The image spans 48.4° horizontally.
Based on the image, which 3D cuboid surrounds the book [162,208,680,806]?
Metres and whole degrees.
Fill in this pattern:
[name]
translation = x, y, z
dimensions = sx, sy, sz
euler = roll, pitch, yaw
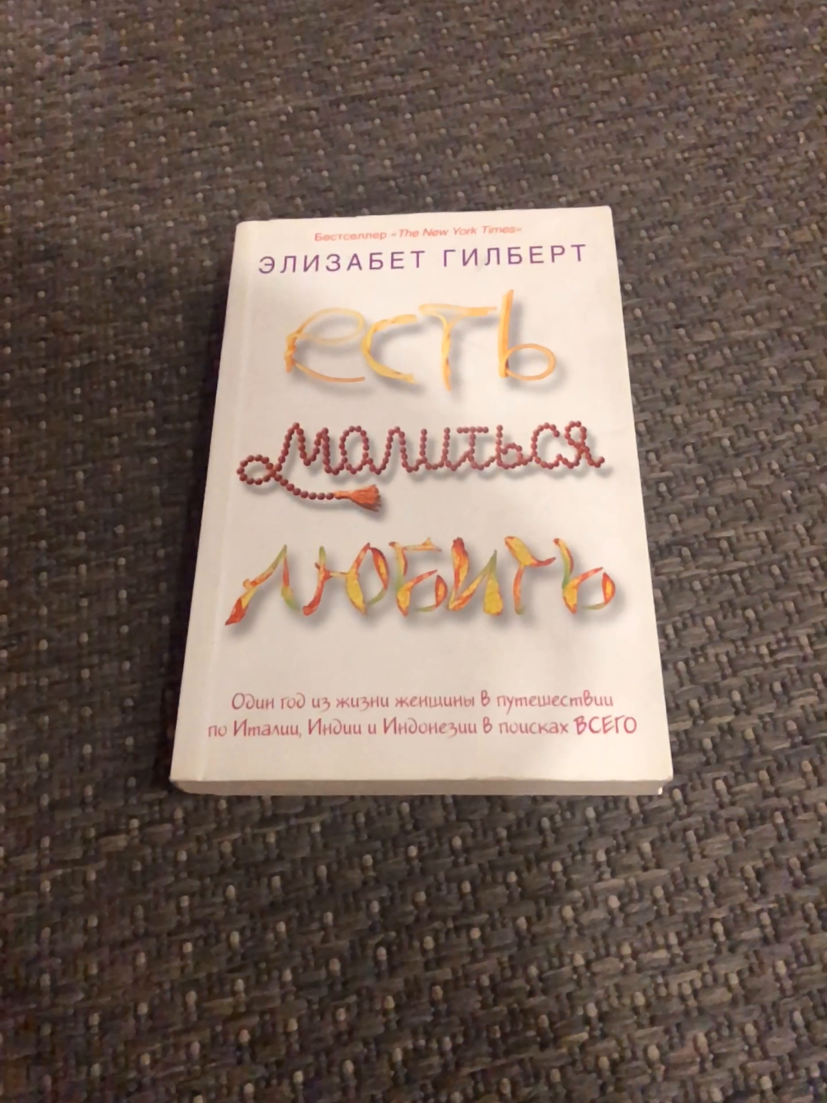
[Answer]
[book]
translation = 0.003, -0.024, 0.317
dimensions = 0.142, 0.041, 0.211
euler = 0, 64, 2
